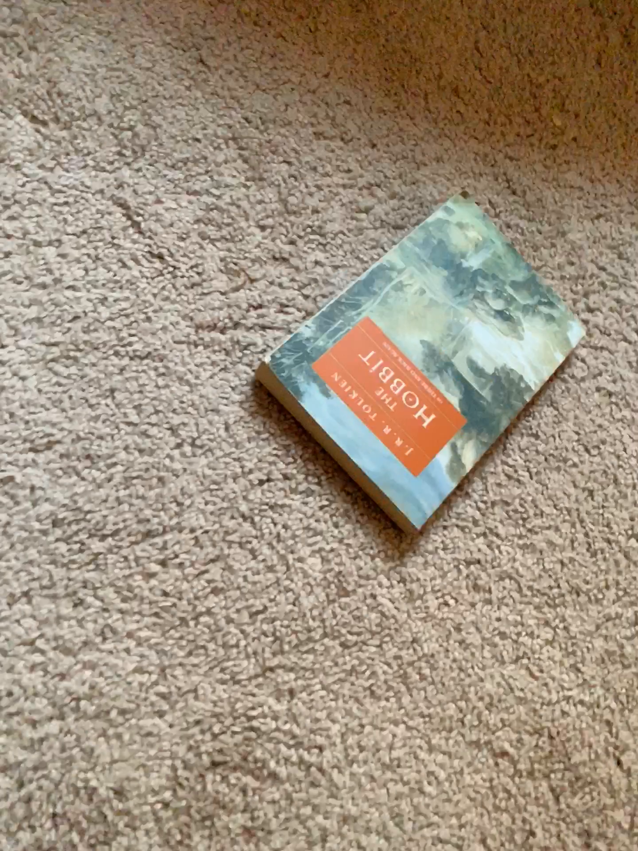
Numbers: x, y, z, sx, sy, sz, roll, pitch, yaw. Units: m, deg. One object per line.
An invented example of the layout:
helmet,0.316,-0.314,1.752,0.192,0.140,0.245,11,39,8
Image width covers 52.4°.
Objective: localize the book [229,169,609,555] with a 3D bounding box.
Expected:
book,0.073,-0.048,0.431,0.150,0.030,0.220,46,70,-1
